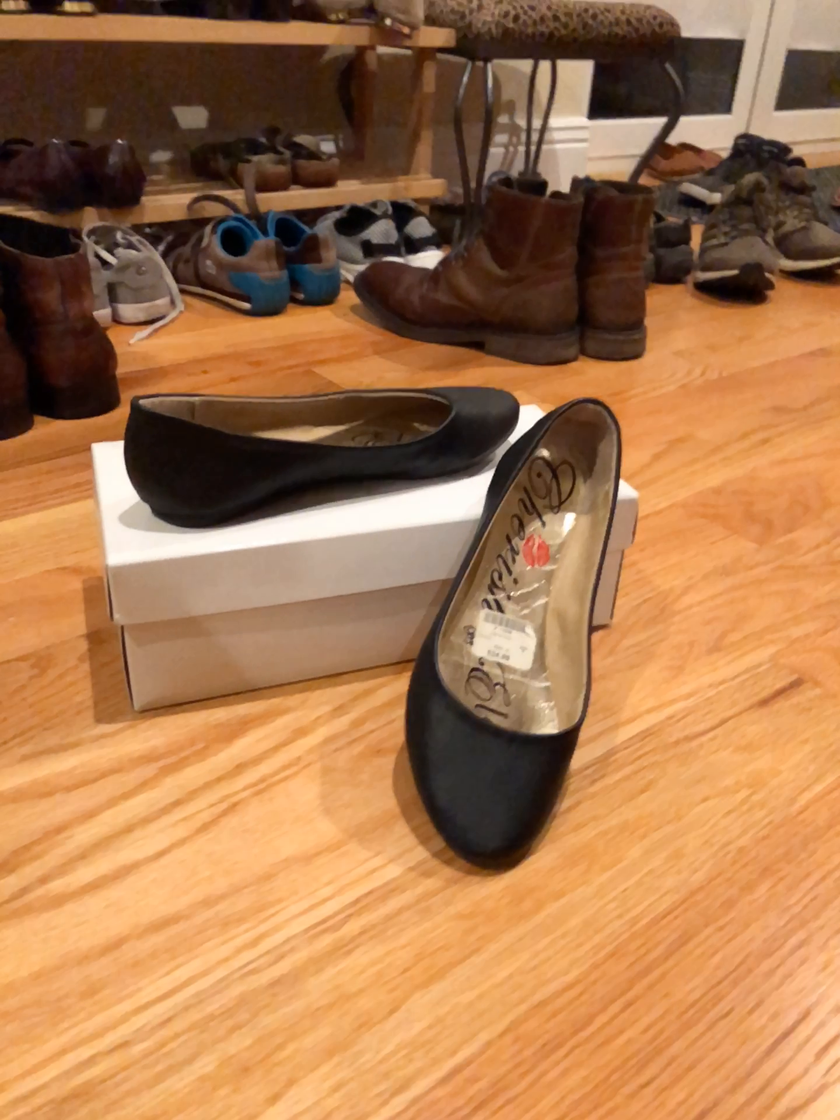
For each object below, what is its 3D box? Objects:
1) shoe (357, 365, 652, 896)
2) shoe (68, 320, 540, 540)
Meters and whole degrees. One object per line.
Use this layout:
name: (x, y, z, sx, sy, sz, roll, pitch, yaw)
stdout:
shoe: (0.044, 0.030, 0.450, 0.076, 0.060, 0.240, 18, 68, -3)
shoe: (-0.057, -0.079, 0.507, 0.240, 0.060, 0.076, -14, 35, -26)
